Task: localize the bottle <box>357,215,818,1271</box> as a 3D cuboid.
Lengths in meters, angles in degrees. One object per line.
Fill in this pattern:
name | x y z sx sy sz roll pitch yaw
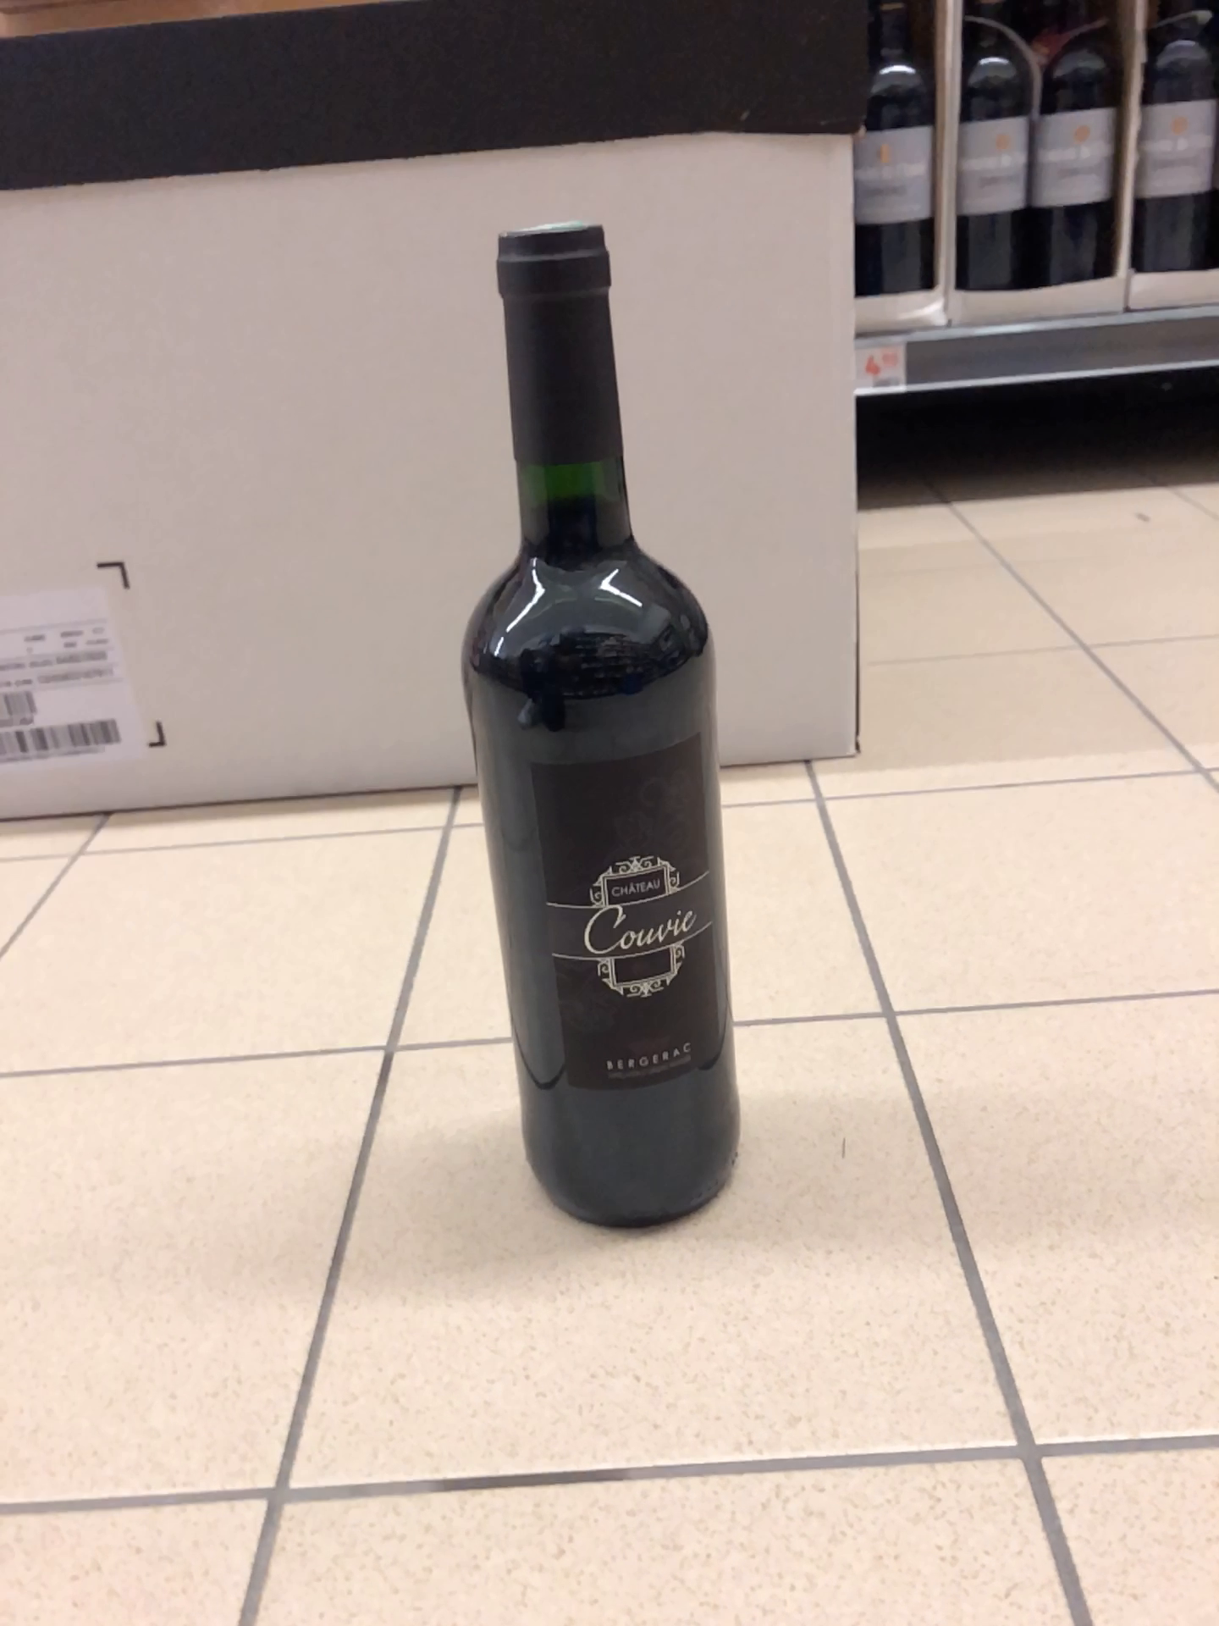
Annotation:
bottle | -0.001 -0.017 0.402 0.090 0.289 0.090 -4 25 2
